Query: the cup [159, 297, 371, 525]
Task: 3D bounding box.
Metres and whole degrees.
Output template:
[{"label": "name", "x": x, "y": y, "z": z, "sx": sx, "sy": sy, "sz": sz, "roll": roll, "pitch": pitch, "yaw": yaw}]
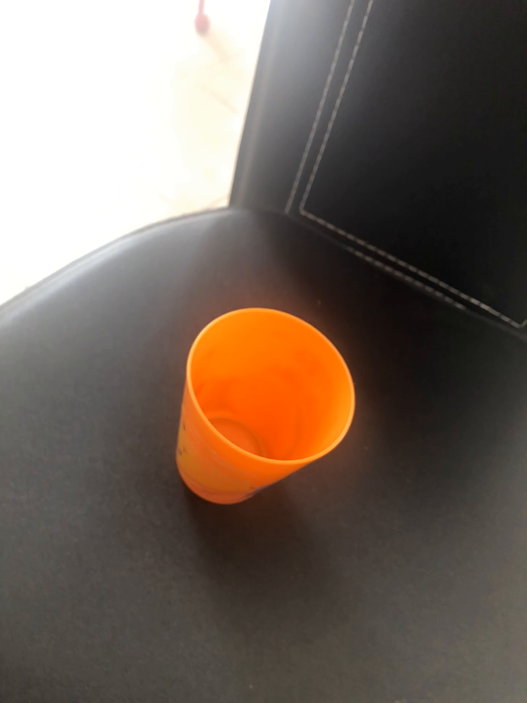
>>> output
[{"label": "cup", "x": -0.007, "y": 0.035, "z": 0.302, "sx": 0.080, "sy": 0.089, "sz": 0.080, "roll": 8, "pitch": 55, "yaw": -12}]
